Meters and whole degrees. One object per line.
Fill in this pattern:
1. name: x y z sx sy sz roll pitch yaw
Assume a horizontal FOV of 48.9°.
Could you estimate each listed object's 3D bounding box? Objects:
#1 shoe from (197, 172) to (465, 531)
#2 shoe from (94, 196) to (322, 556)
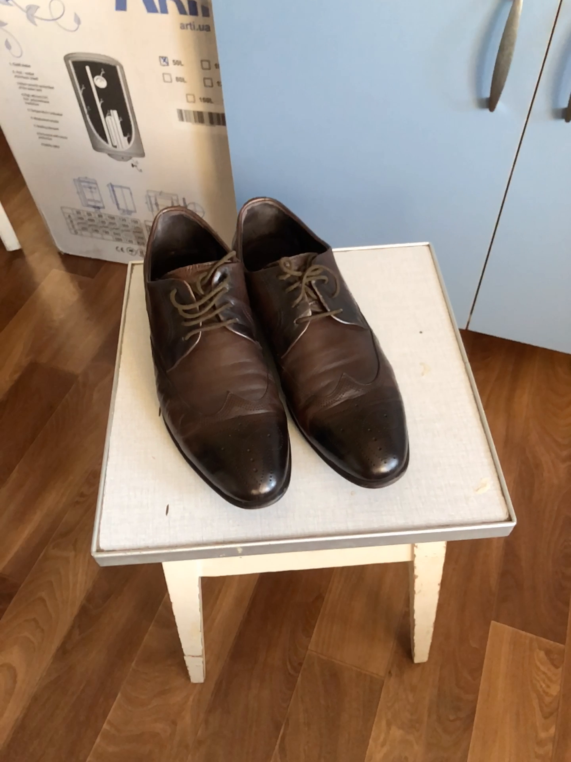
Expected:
1. shoe: 0.021 -0.040 0.525 0.100 0.099 0.291 -18 54 -11
2. shoe: -0.073 -0.020 0.530 0.100 0.099 0.291 -18 54 -11
